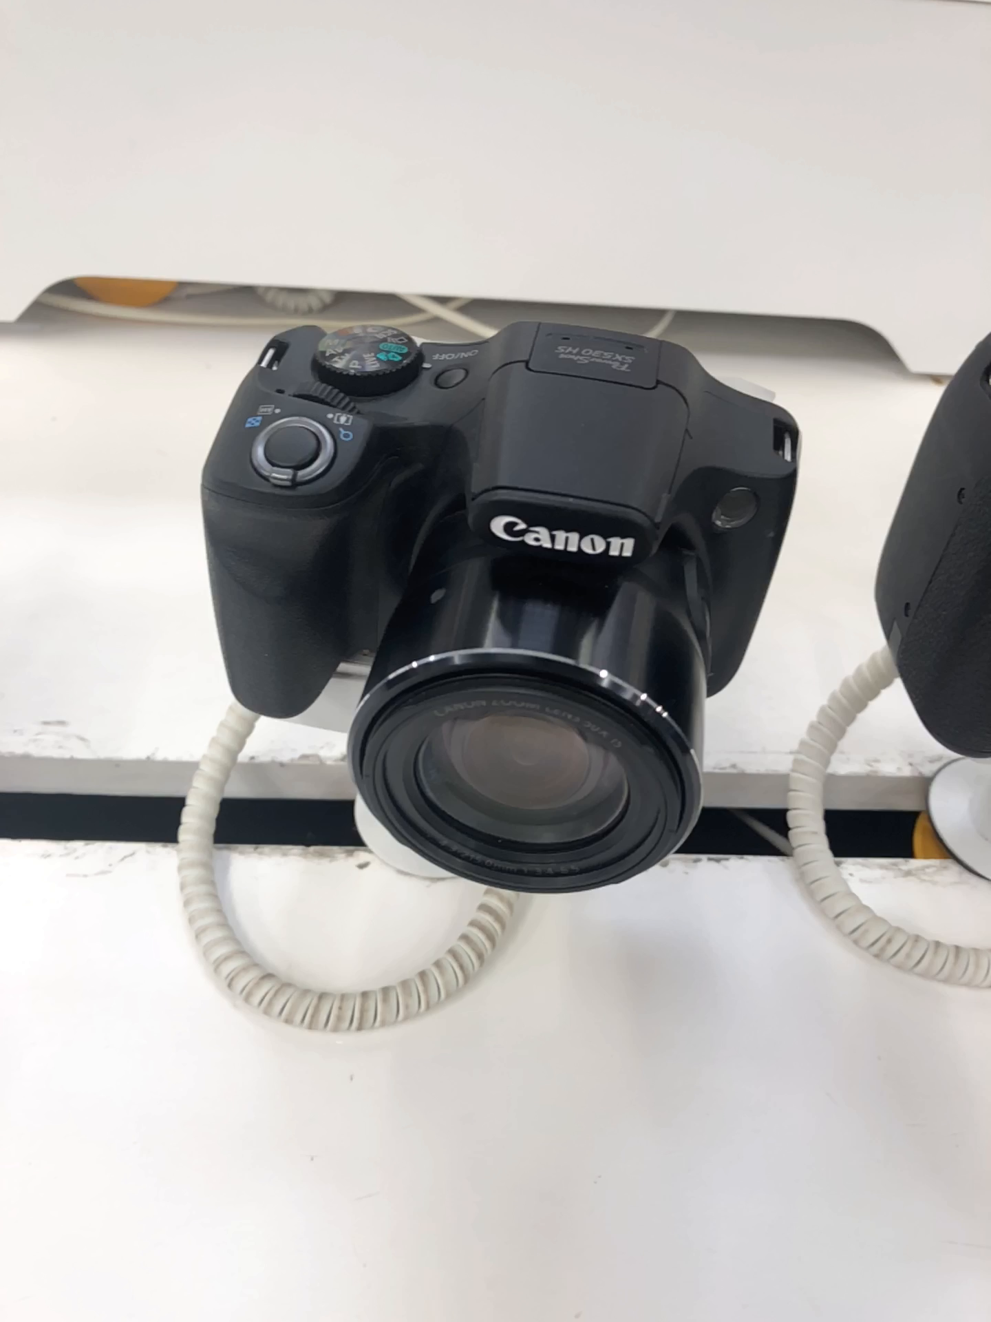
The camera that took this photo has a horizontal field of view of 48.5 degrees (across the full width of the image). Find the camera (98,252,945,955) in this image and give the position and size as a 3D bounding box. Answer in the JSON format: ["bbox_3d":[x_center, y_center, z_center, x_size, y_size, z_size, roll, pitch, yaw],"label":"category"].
[{"bbox_3d":[0.005,-0.011,0.214,0.120,0.089,0.080,9,46,3],"label":"camera"}]
